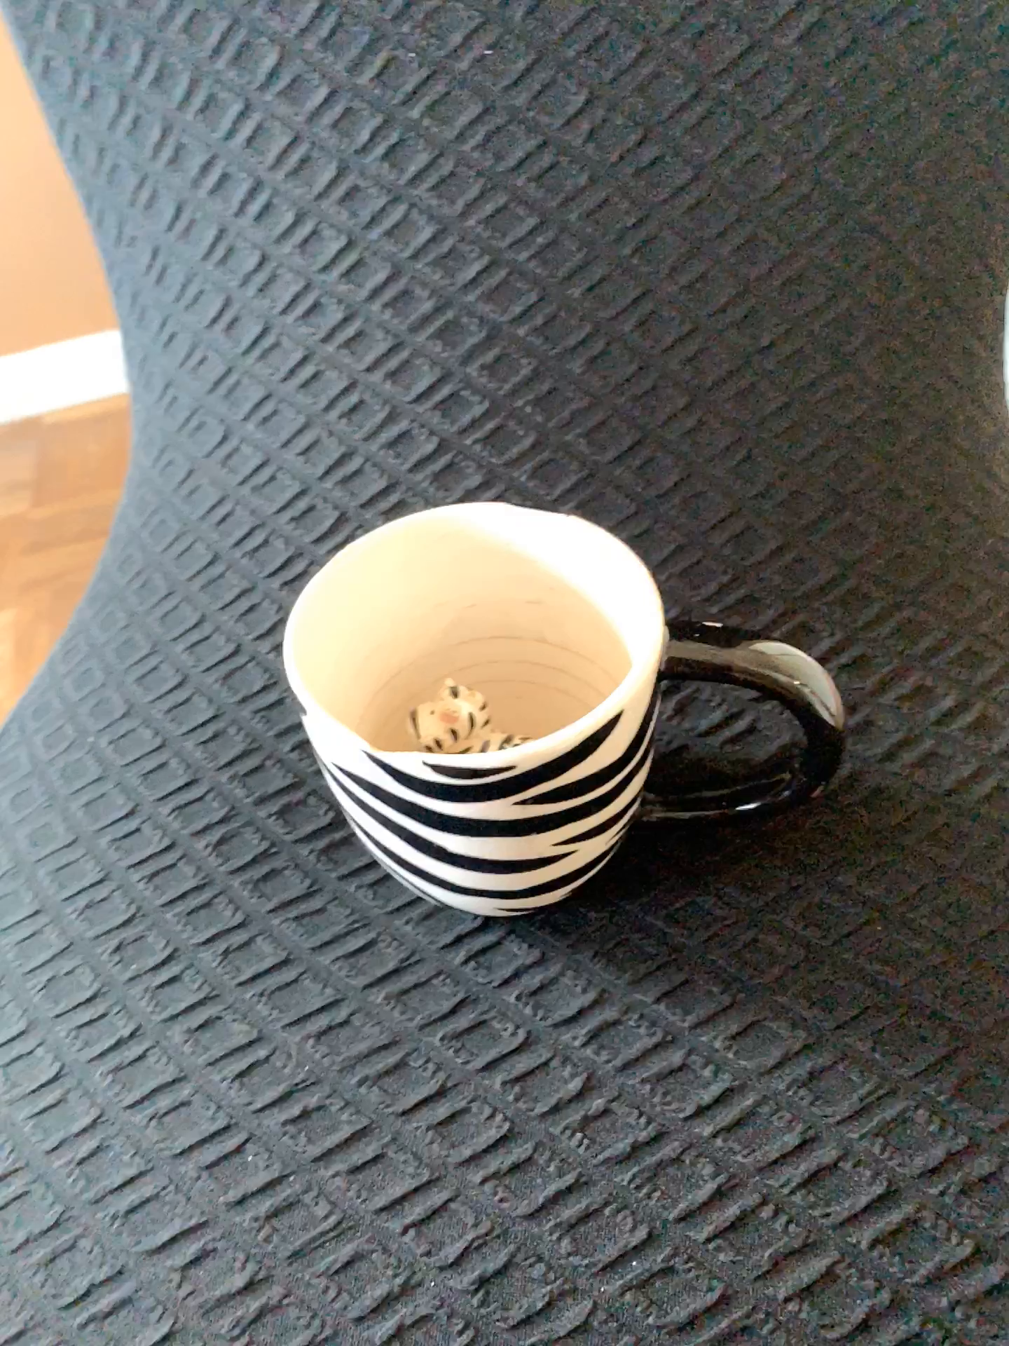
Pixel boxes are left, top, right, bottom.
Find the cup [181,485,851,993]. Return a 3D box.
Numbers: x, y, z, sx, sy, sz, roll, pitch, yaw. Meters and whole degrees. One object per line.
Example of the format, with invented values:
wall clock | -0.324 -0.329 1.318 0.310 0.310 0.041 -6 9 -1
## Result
cup | 0.011 0.015 0.274 0.140 0.090 0.080 6 52 15
